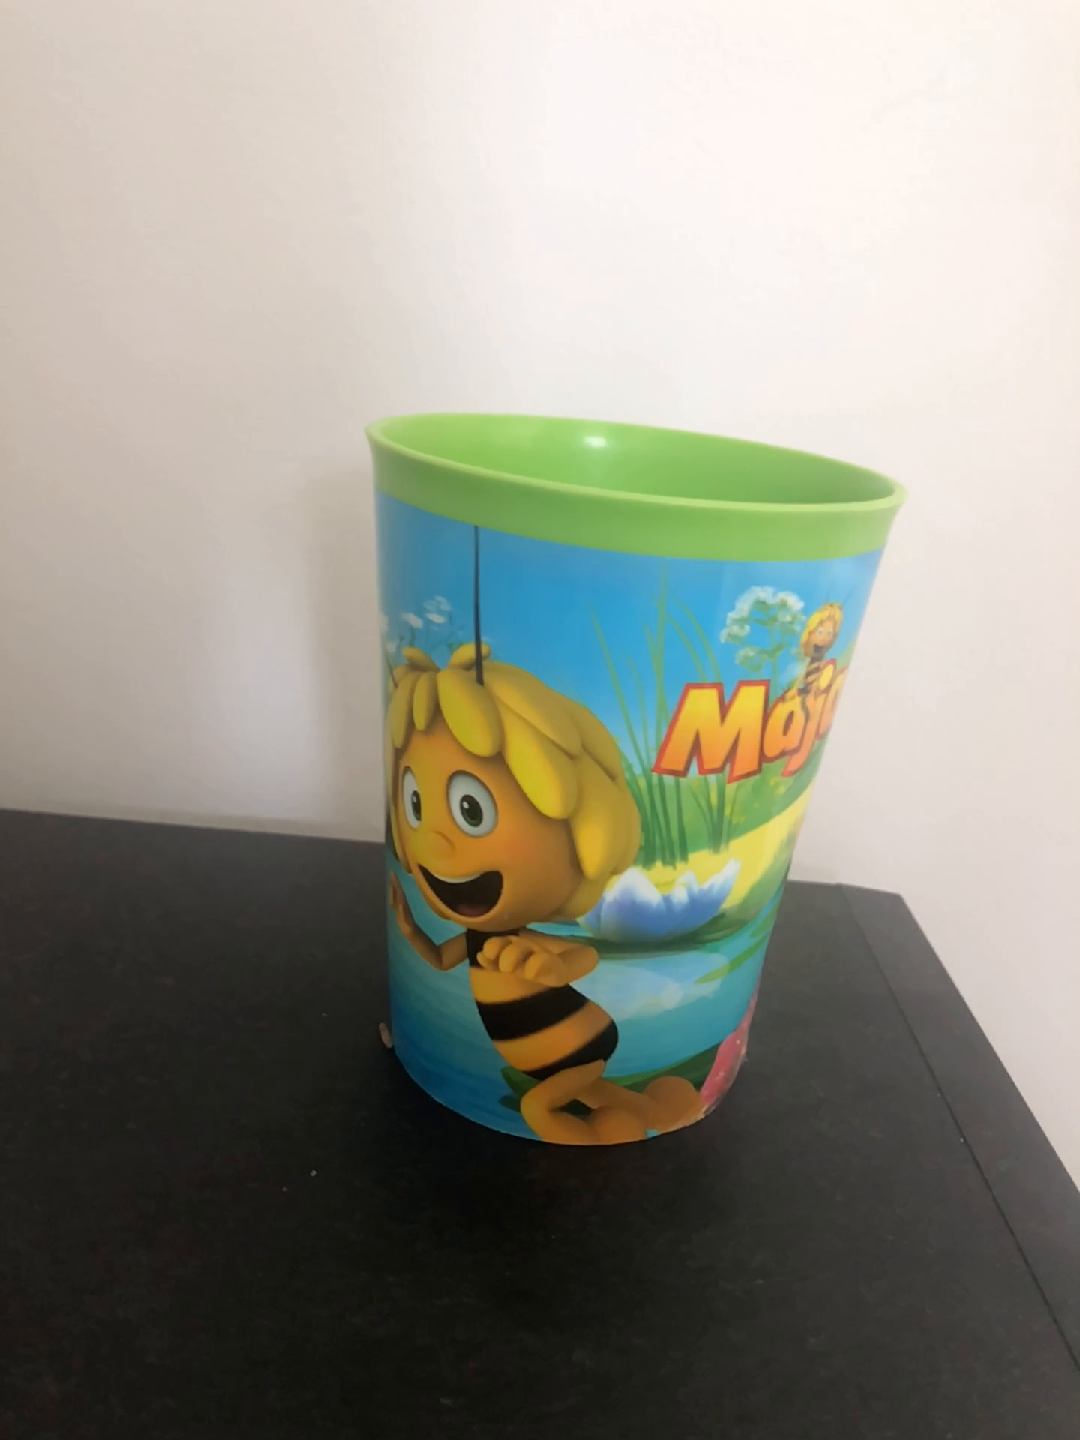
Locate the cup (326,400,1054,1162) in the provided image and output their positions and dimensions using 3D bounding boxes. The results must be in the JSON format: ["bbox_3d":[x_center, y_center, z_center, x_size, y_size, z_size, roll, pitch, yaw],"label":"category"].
[{"bbox_3d":[0.012,0.004,0.189,0.080,0.090,0.080,6,19,-2],"label":"cup"}]
